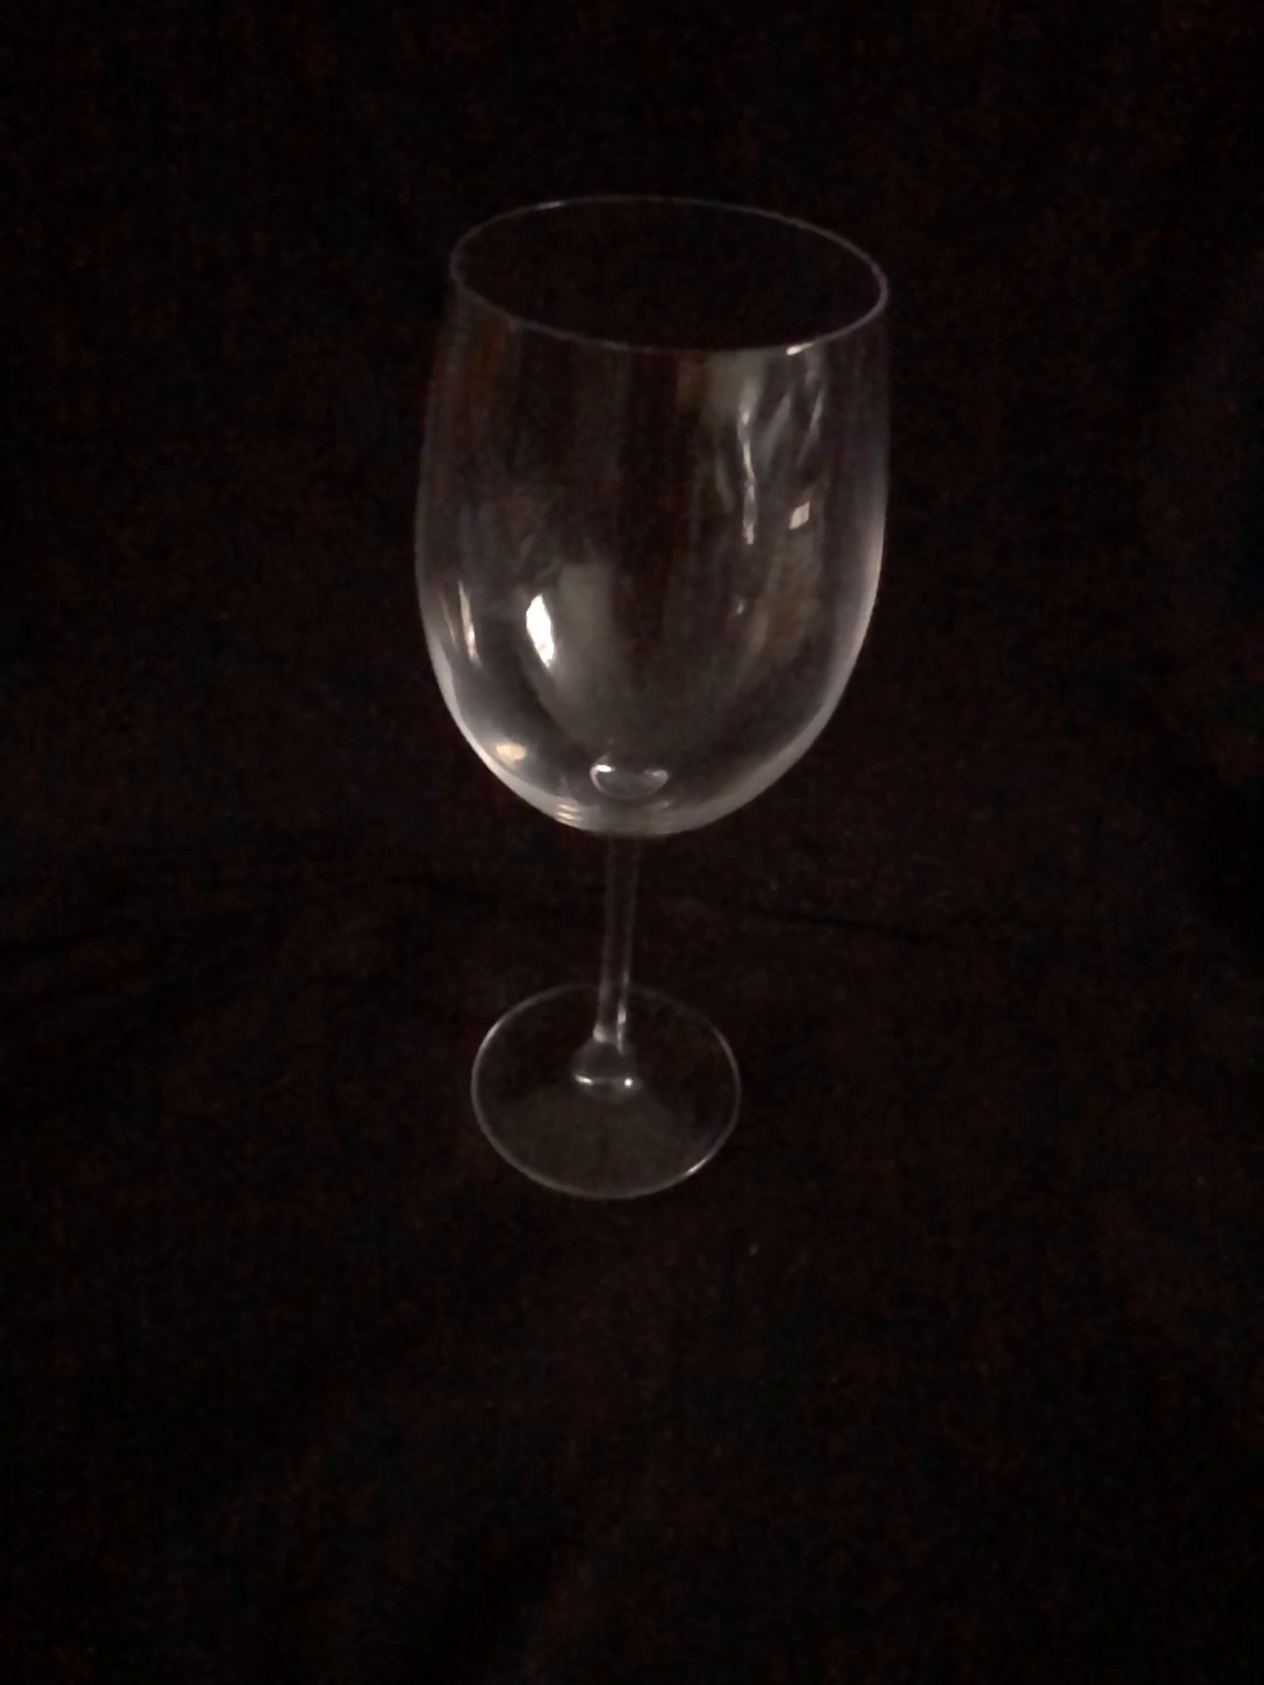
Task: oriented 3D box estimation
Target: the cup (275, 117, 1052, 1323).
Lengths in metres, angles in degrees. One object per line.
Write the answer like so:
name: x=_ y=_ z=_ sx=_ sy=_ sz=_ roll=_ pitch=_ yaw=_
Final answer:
cup: x=0.001 y=-0.013 z=0.346 sx=0.100 sy=0.266 sz=0.103 roll=1 pitch=43 yaw=-1
